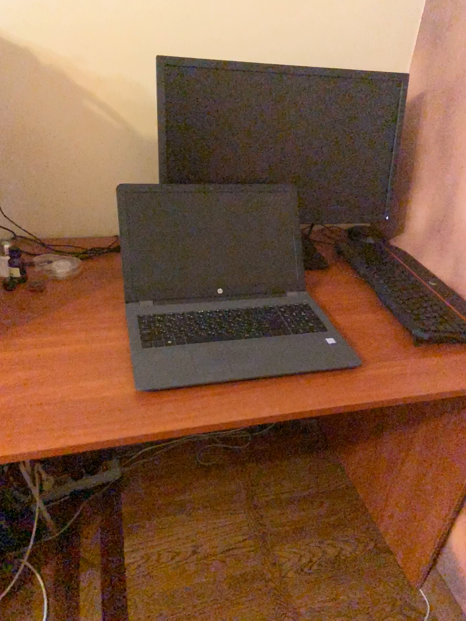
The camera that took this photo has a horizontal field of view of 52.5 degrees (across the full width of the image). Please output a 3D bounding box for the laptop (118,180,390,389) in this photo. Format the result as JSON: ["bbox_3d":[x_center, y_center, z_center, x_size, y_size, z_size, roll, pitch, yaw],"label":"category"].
[{"bbox_3d":[-0.002,-0.080,0.837,0.366,0.181,0.376,-4,33,-15],"label":"laptop"}]
